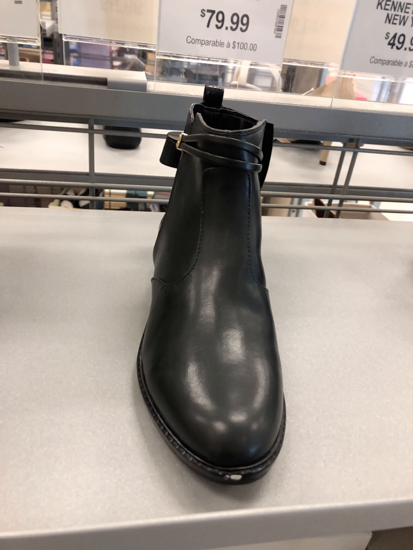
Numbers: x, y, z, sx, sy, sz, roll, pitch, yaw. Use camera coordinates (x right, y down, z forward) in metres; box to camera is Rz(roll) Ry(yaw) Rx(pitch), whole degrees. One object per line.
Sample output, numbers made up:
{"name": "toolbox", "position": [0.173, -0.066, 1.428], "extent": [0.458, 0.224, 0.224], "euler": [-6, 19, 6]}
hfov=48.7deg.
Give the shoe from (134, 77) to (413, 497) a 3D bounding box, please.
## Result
{"name": "shoe", "position": [0.008, -0.018, 0.282], "extent": [0.090, 0.149, 0.232], "euler": [3, 32, -8]}
